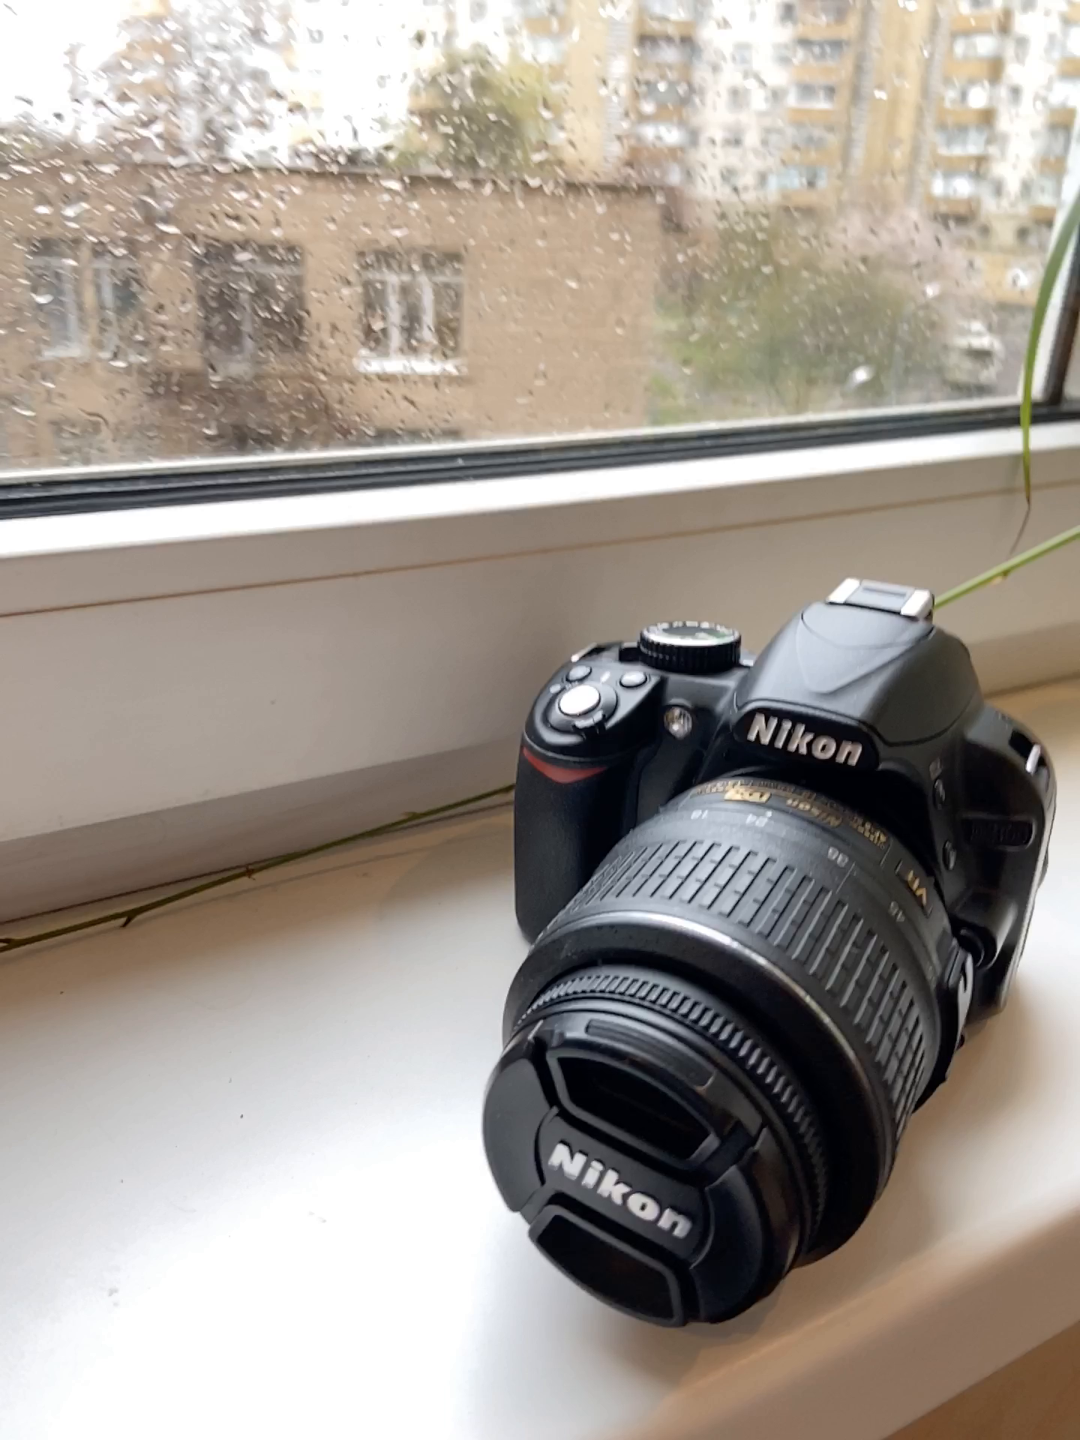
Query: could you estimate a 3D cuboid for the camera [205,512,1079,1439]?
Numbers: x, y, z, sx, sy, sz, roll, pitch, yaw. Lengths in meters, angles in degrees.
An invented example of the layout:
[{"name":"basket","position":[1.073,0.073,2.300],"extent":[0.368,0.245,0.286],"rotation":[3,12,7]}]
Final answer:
[{"name":"camera","position":[0.035,0.027,0.238],"extent":[0.124,0.091,0.155],"rotation":[14,28,24]}]
